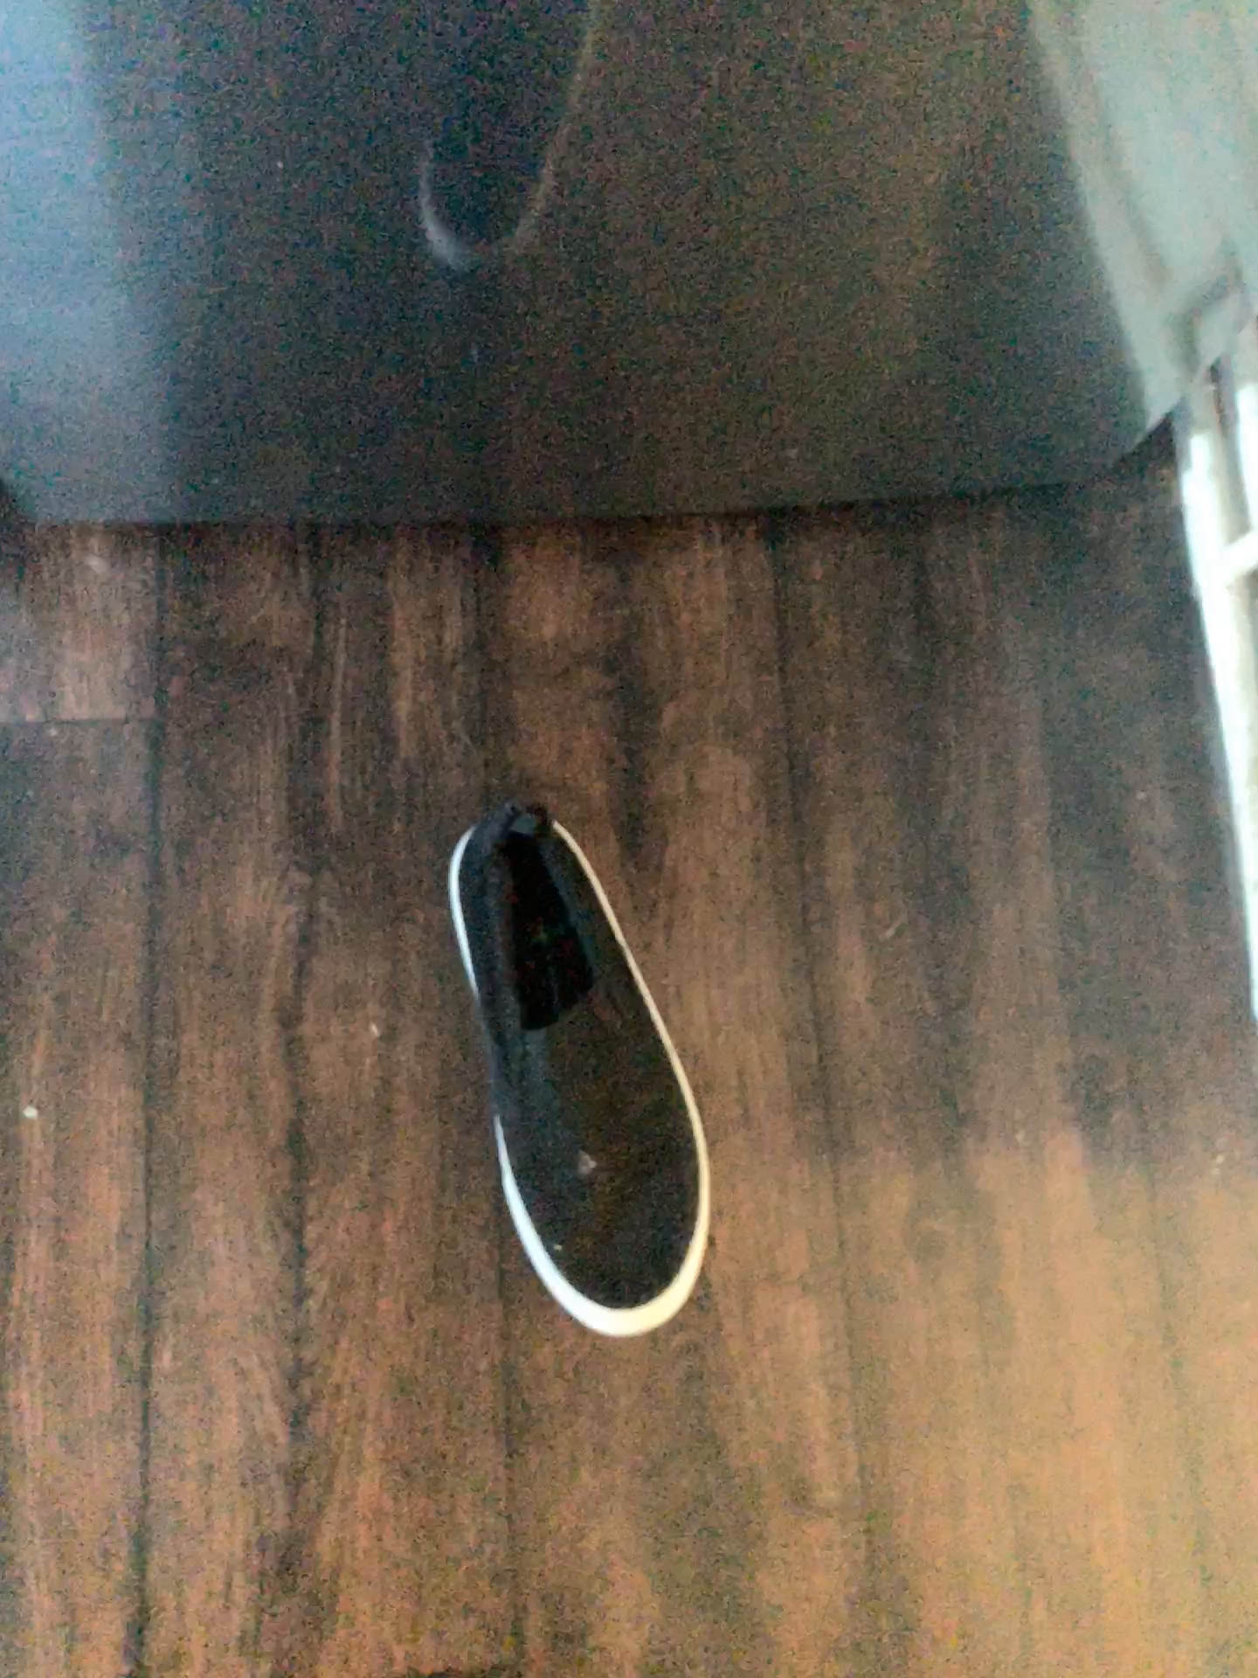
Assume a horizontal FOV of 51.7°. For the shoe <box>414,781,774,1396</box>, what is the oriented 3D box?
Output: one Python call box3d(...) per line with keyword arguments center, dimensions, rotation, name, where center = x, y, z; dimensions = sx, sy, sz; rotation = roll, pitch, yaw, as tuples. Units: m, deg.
box3d(center=(-0.021, 0.107, 0.588), dimensions=(0.100, 0.080, 0.239), rotation=(-12, 79, -9), name="shoe")
